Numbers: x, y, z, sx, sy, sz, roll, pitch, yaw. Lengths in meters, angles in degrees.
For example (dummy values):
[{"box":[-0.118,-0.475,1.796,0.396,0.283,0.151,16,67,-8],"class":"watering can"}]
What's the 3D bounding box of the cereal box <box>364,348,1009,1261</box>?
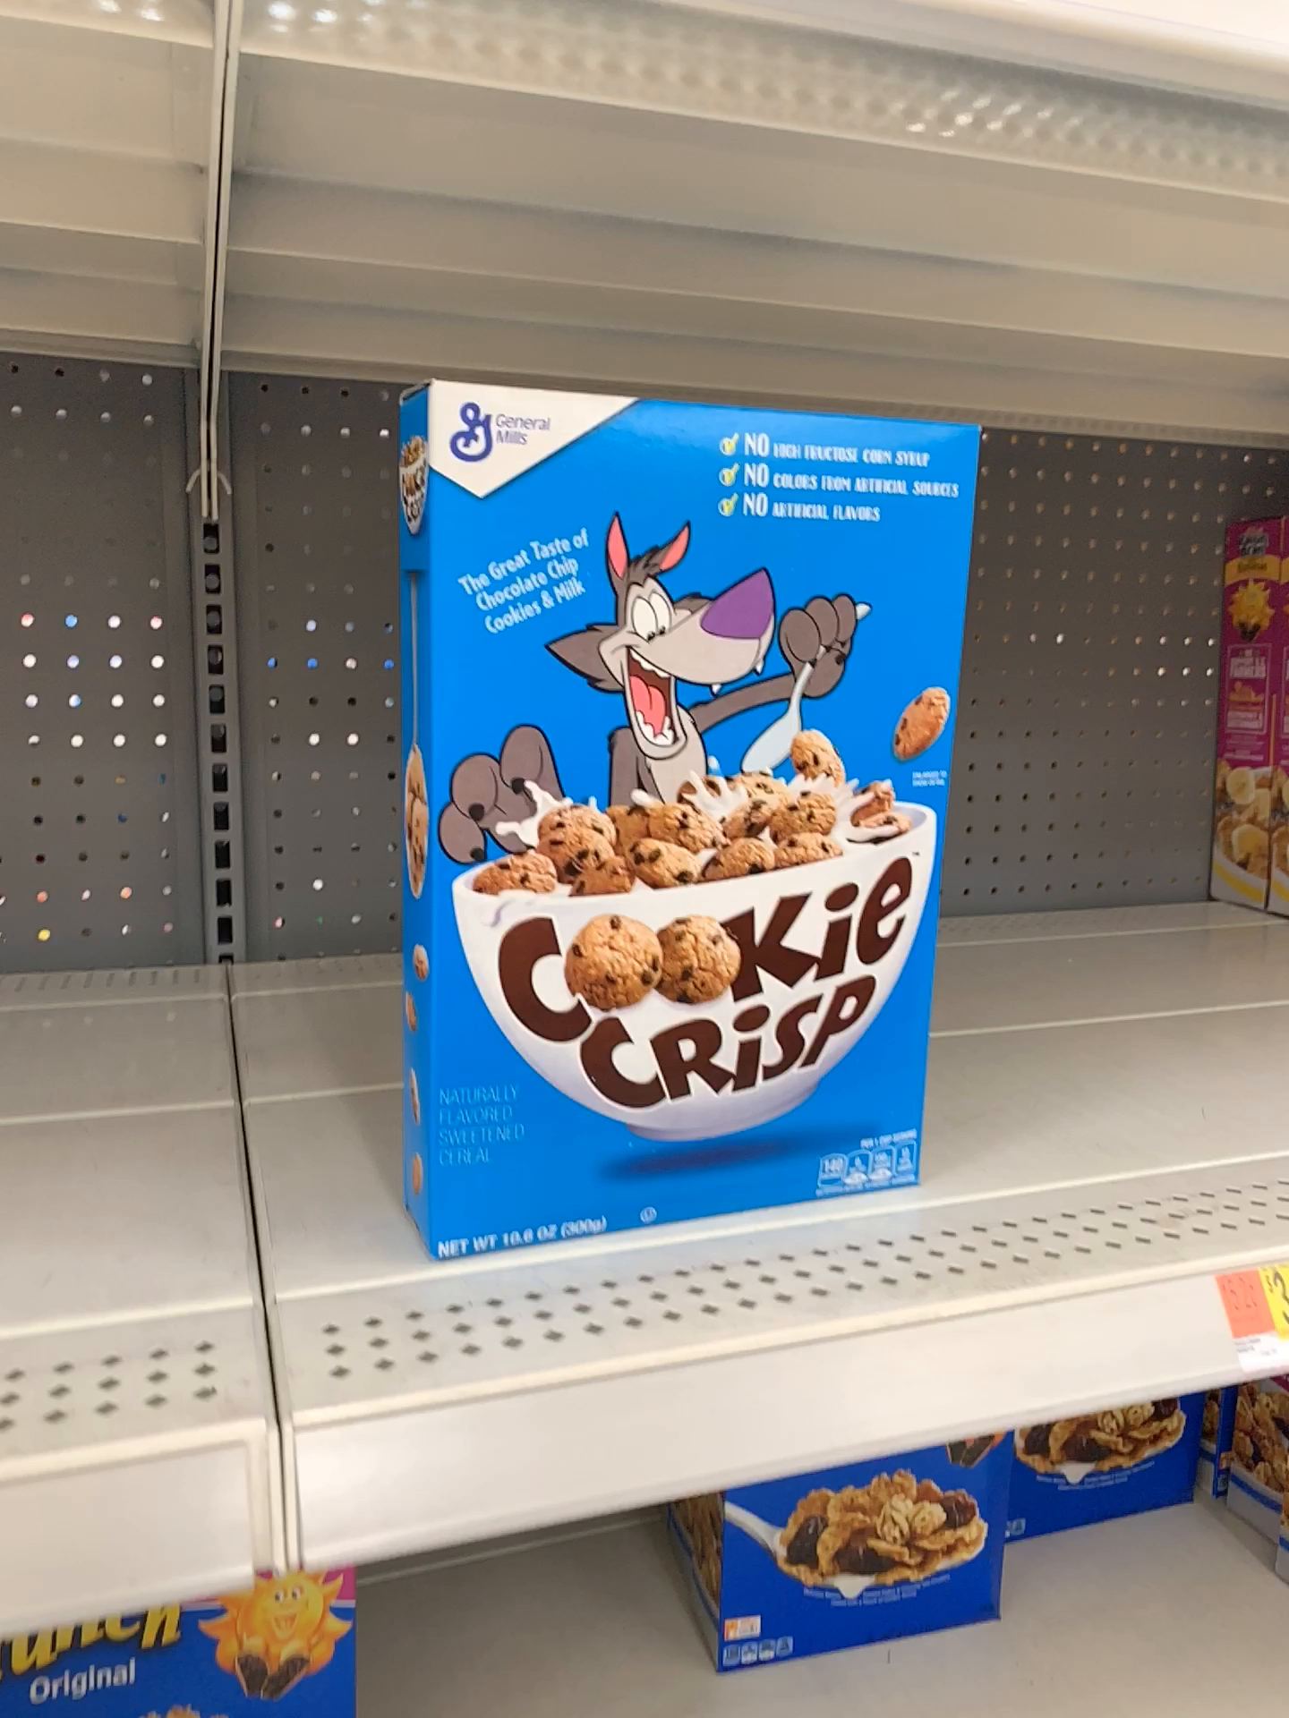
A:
[{"box":[0.013,-0.017,0.462,0.210,0.279,0.050,-3,12,-22],"class":"cereal box"}]
